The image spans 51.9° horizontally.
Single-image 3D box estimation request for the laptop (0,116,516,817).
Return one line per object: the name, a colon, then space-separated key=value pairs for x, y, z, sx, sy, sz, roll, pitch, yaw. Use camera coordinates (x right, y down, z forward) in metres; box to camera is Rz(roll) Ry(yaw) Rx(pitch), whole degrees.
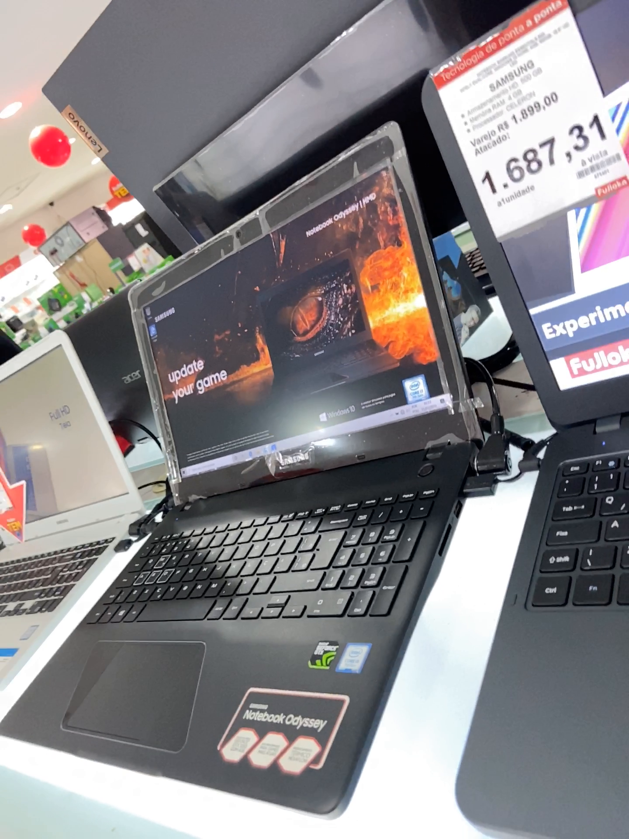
laptop: x=-0.102 y=0.015 z=0.499 sx=0.373 sy=0.202 sz=0.392 roll=-18 pitch=27 yaw=41
